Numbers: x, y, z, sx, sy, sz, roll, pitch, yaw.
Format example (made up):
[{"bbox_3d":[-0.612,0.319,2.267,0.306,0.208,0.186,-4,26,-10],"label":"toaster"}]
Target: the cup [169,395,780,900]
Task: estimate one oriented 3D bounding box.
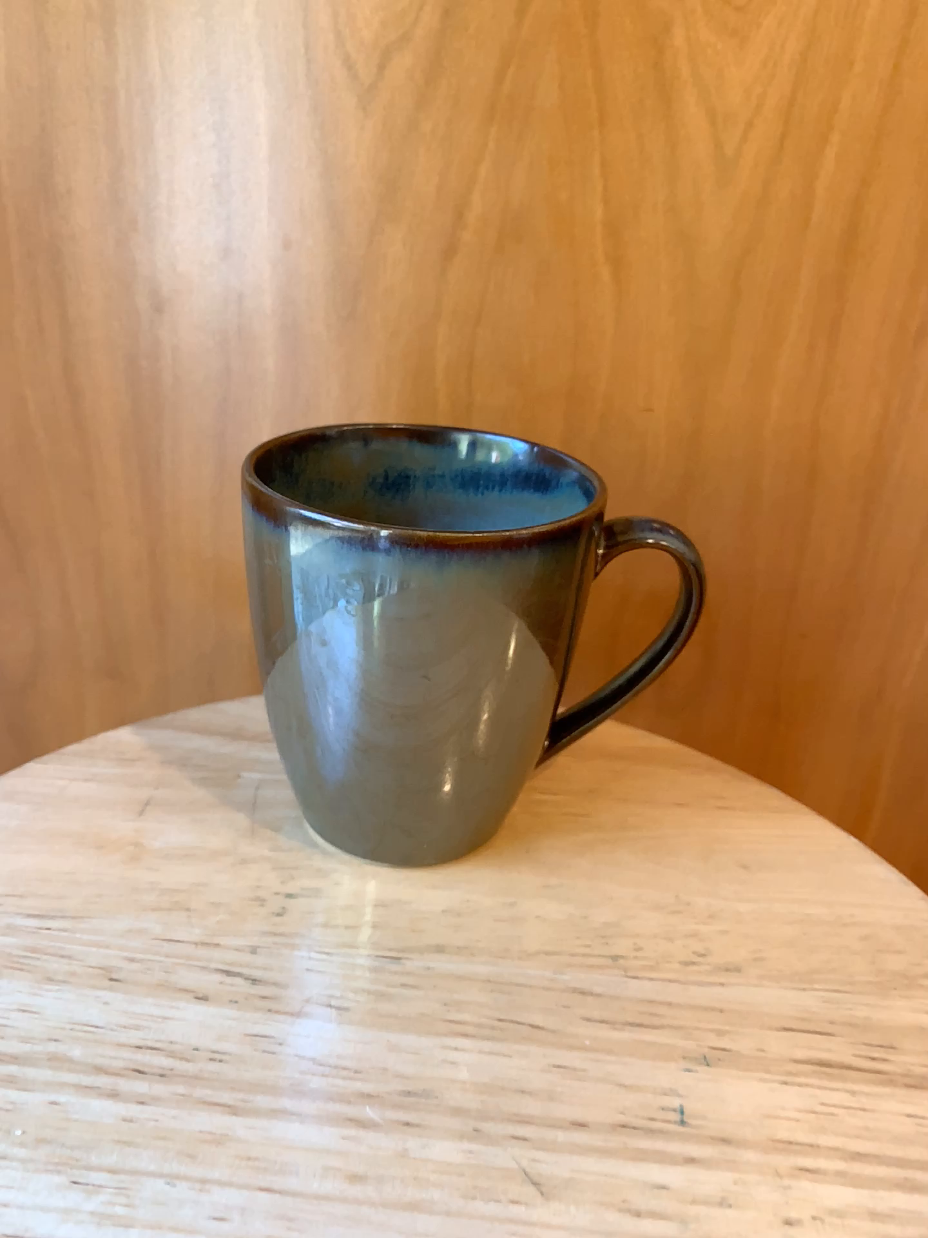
[{"bbox_3d":[0.000,0.002,0.245,0.120,0.090,0.080,5,24,1],"label":"cup"}]
